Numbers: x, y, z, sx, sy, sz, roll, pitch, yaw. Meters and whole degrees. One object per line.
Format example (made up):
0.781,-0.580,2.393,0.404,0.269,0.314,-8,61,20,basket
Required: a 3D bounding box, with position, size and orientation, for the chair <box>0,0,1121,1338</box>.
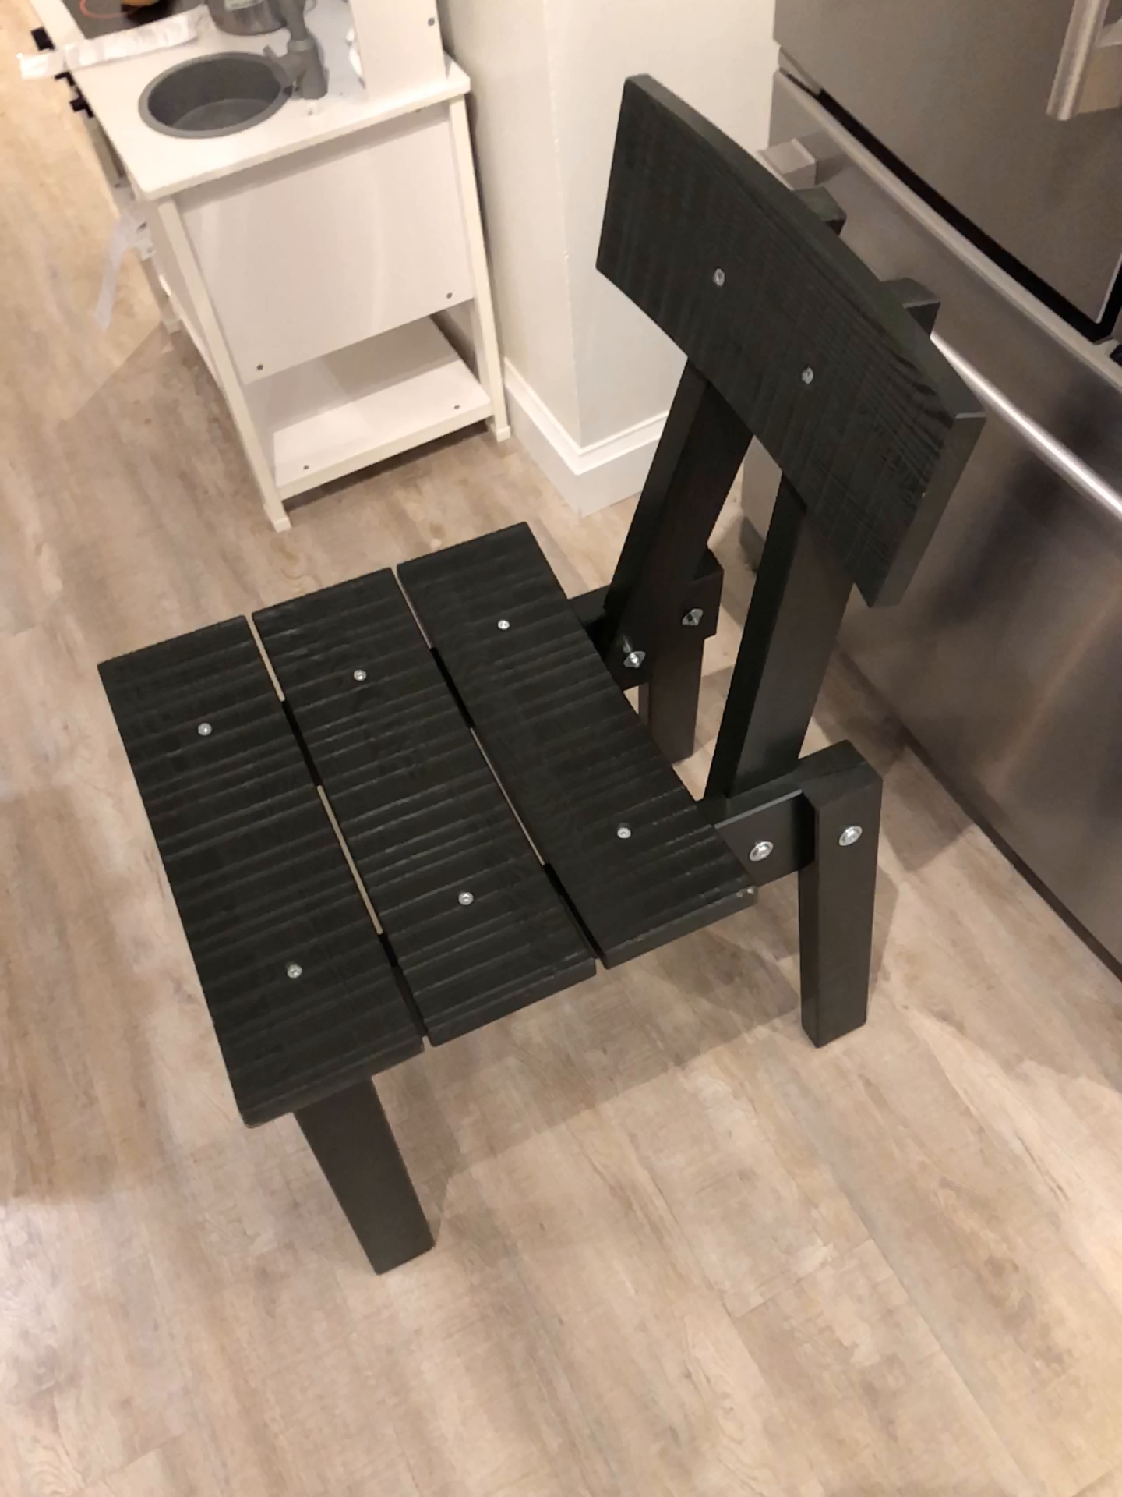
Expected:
-0.060,0.005,0.912,0.510,0.796,0.522,-22,58,-10,chair
